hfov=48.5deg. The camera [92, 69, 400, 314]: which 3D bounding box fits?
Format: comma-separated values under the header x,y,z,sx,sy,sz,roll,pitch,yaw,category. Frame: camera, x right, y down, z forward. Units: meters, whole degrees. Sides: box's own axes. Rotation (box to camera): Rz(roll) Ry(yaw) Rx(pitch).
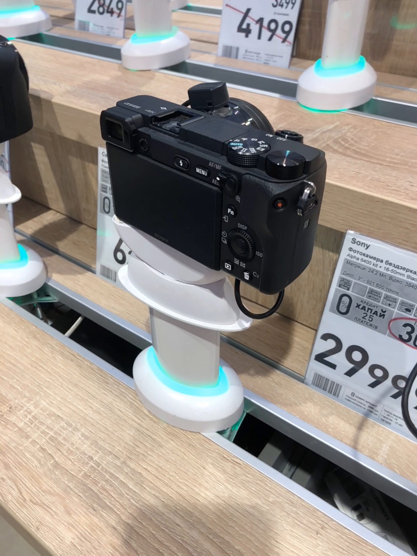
x,y,z,sx,sy,sz,roll,pitch,yaw,category
0.018,-0.058,0.256,0.122,0.069,0.098,29,46,31,camera
